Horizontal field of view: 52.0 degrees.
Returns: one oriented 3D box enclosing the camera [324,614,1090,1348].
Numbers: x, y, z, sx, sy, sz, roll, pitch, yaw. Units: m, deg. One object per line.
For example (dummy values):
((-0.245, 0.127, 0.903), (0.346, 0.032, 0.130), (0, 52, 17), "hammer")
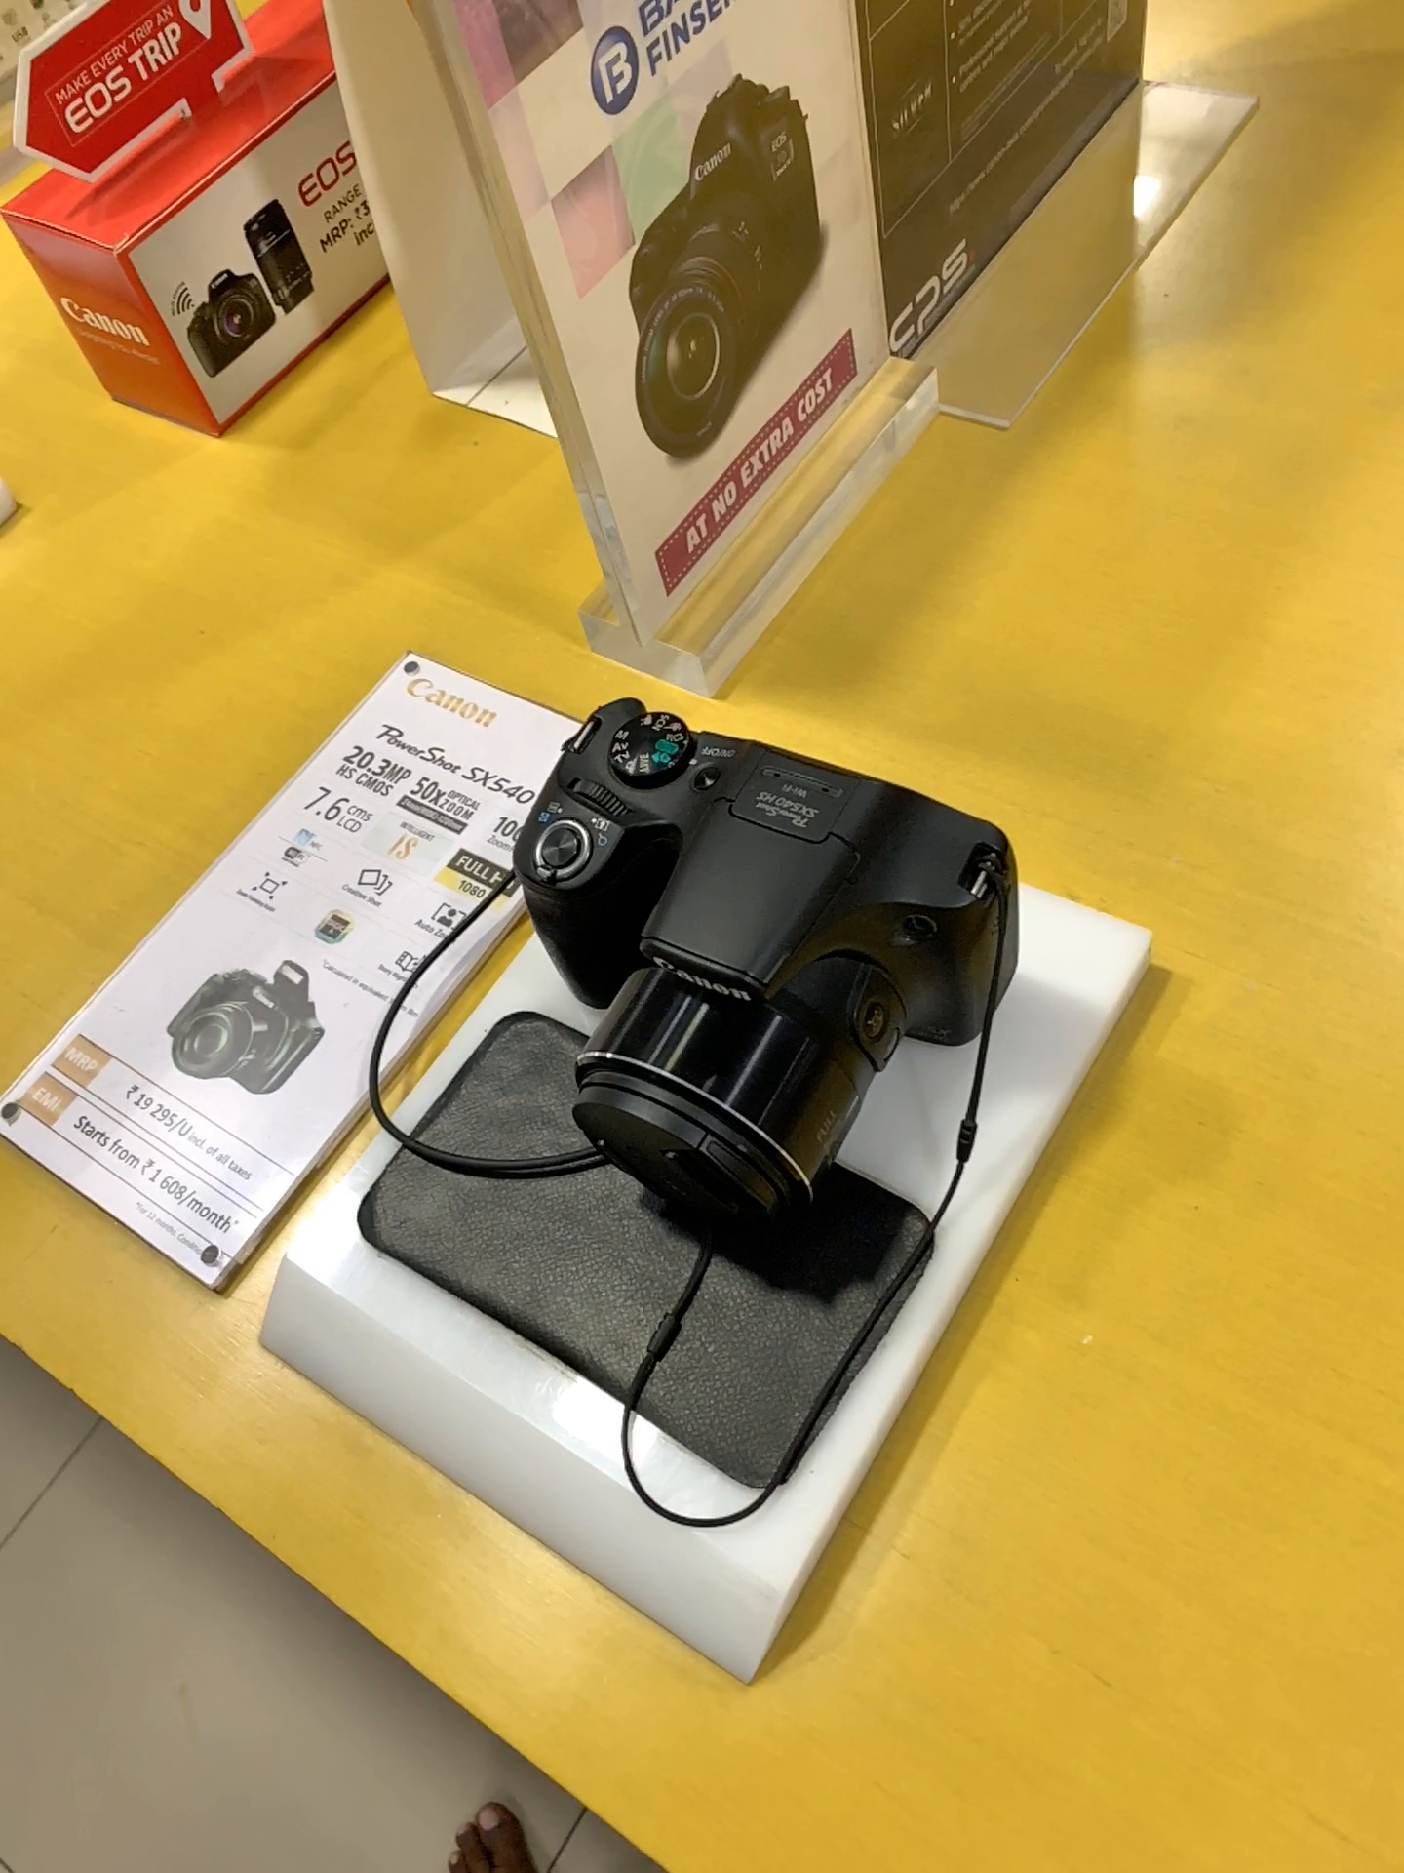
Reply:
((0.007, 0.006, 0.323), (0.120, 0.070, 0.110), (22, 65, 25), "camera")
